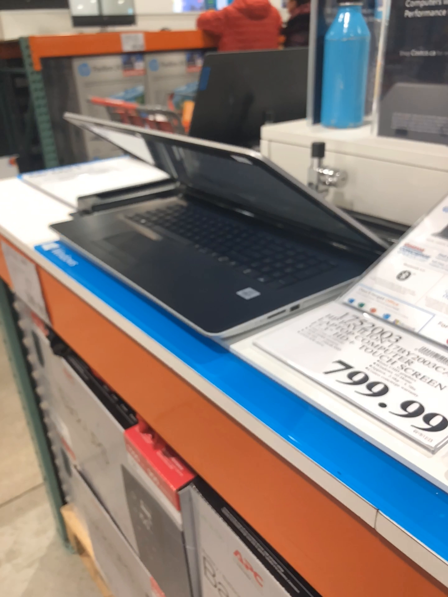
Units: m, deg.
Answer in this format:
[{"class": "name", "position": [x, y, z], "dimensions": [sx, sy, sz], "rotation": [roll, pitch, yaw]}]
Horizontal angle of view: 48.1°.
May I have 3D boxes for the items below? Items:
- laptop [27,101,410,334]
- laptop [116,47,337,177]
[{"class": "laptop", "position": [-0.033, -0.142, 0.615], "dimensions": [0.257, 0.150, 0.407], "rotation": [-19, 31, -31]}, {"class": "laptop", "position": [0.006, -0.437, 1.120], "dimensions": [0.340, 0.212, 0.332], "rotation": [-22, 33, -33]}]
